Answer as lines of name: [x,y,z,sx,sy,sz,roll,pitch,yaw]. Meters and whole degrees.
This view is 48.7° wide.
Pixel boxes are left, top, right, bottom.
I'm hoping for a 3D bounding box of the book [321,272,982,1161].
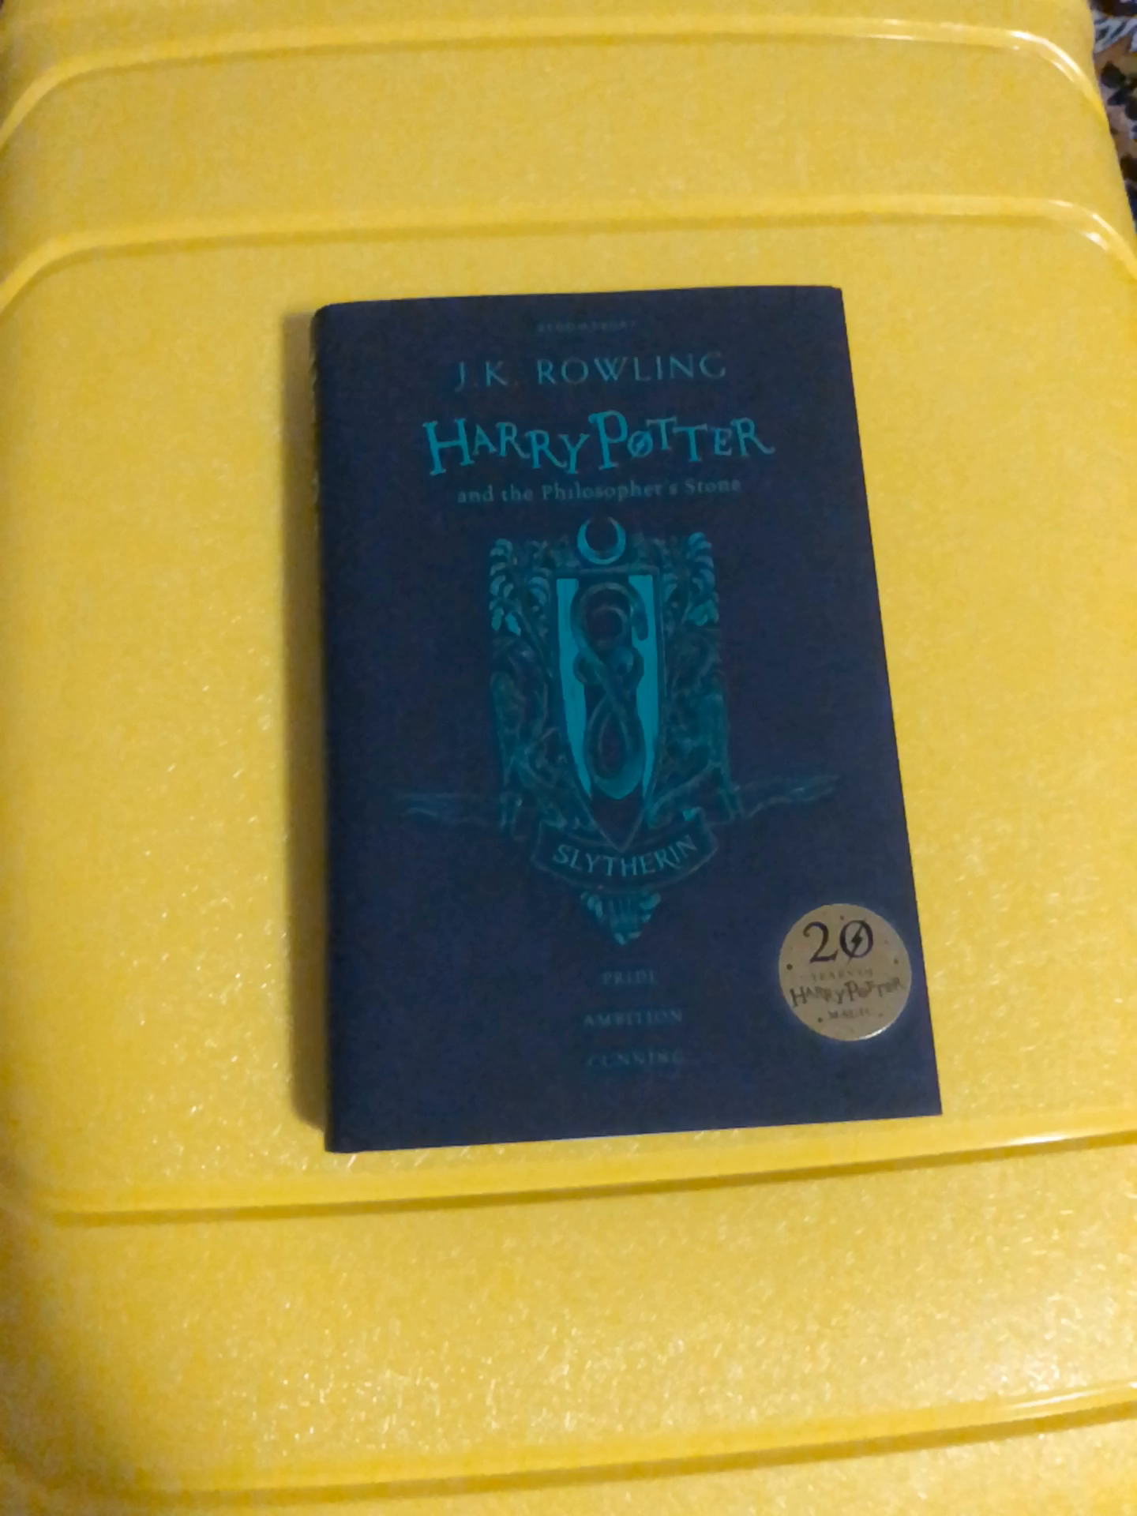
book: [0.013,-0.016,0.303,0.136,0.030,0.205,-3,77,-3]
